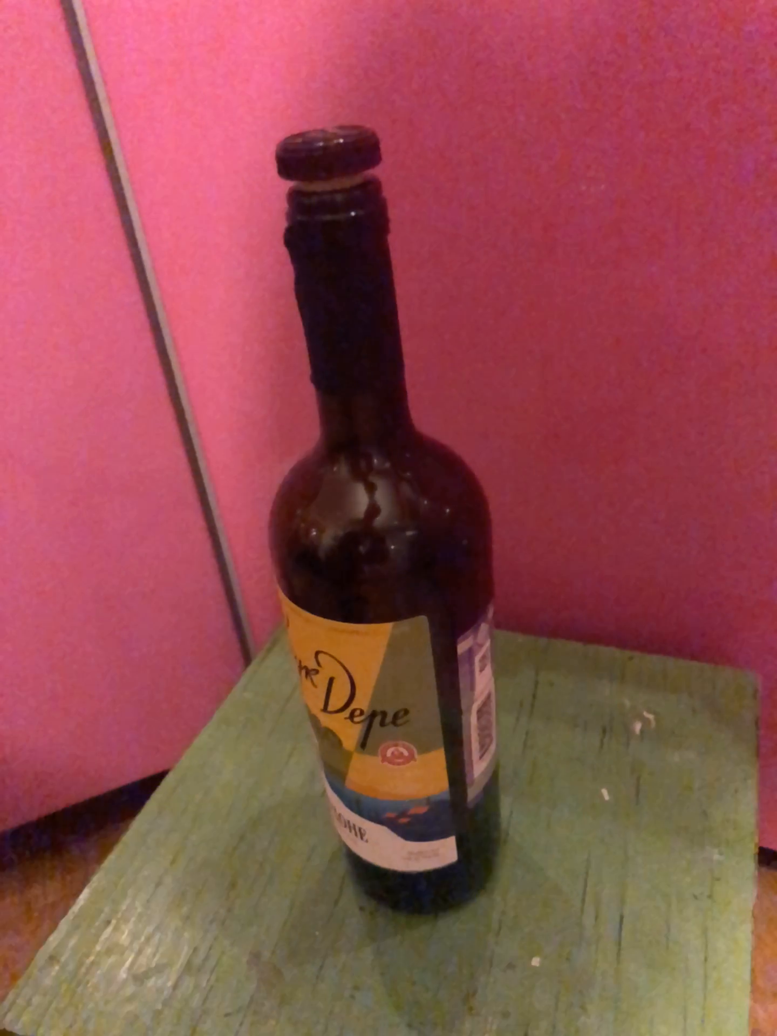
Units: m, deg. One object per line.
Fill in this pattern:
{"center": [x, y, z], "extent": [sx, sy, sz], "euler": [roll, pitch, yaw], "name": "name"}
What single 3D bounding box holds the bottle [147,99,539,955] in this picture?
{"center": [0.001, 0.024, 0.307], "extent": [0.071, 0.301, 0.072], "euler": [-5, 33, 3], "name": "bottle"}
